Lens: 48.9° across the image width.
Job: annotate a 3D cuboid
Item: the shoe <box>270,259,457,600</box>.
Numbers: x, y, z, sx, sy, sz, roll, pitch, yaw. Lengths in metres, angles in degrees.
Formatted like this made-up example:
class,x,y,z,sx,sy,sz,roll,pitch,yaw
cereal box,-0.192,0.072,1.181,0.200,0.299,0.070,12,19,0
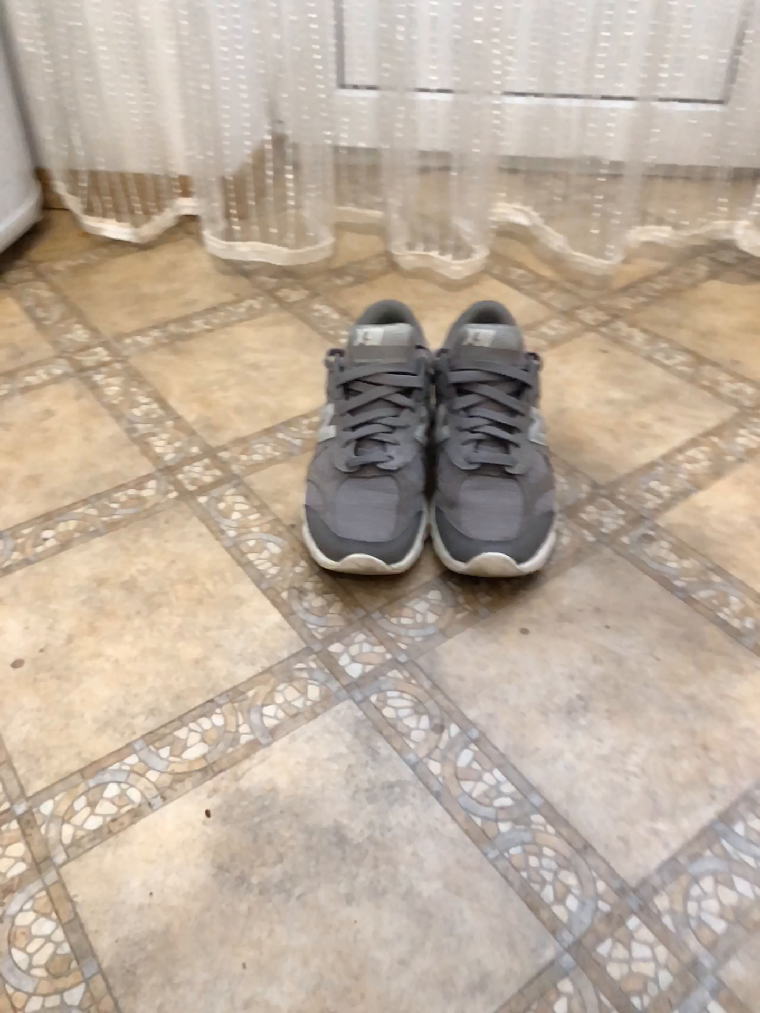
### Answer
class,x,y,z,sx,sy,sz,roll,pitch,yaw
shoe,0.000,-0.073,0.633,0.100,0.119,0.272,4,40,5

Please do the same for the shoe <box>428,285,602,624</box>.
class,x,y,z,sx,sy,sz,roll,pitch,yaw
shoe,0.091,-0.054,0.643,0.100,0.119,0.272,2,40,3
